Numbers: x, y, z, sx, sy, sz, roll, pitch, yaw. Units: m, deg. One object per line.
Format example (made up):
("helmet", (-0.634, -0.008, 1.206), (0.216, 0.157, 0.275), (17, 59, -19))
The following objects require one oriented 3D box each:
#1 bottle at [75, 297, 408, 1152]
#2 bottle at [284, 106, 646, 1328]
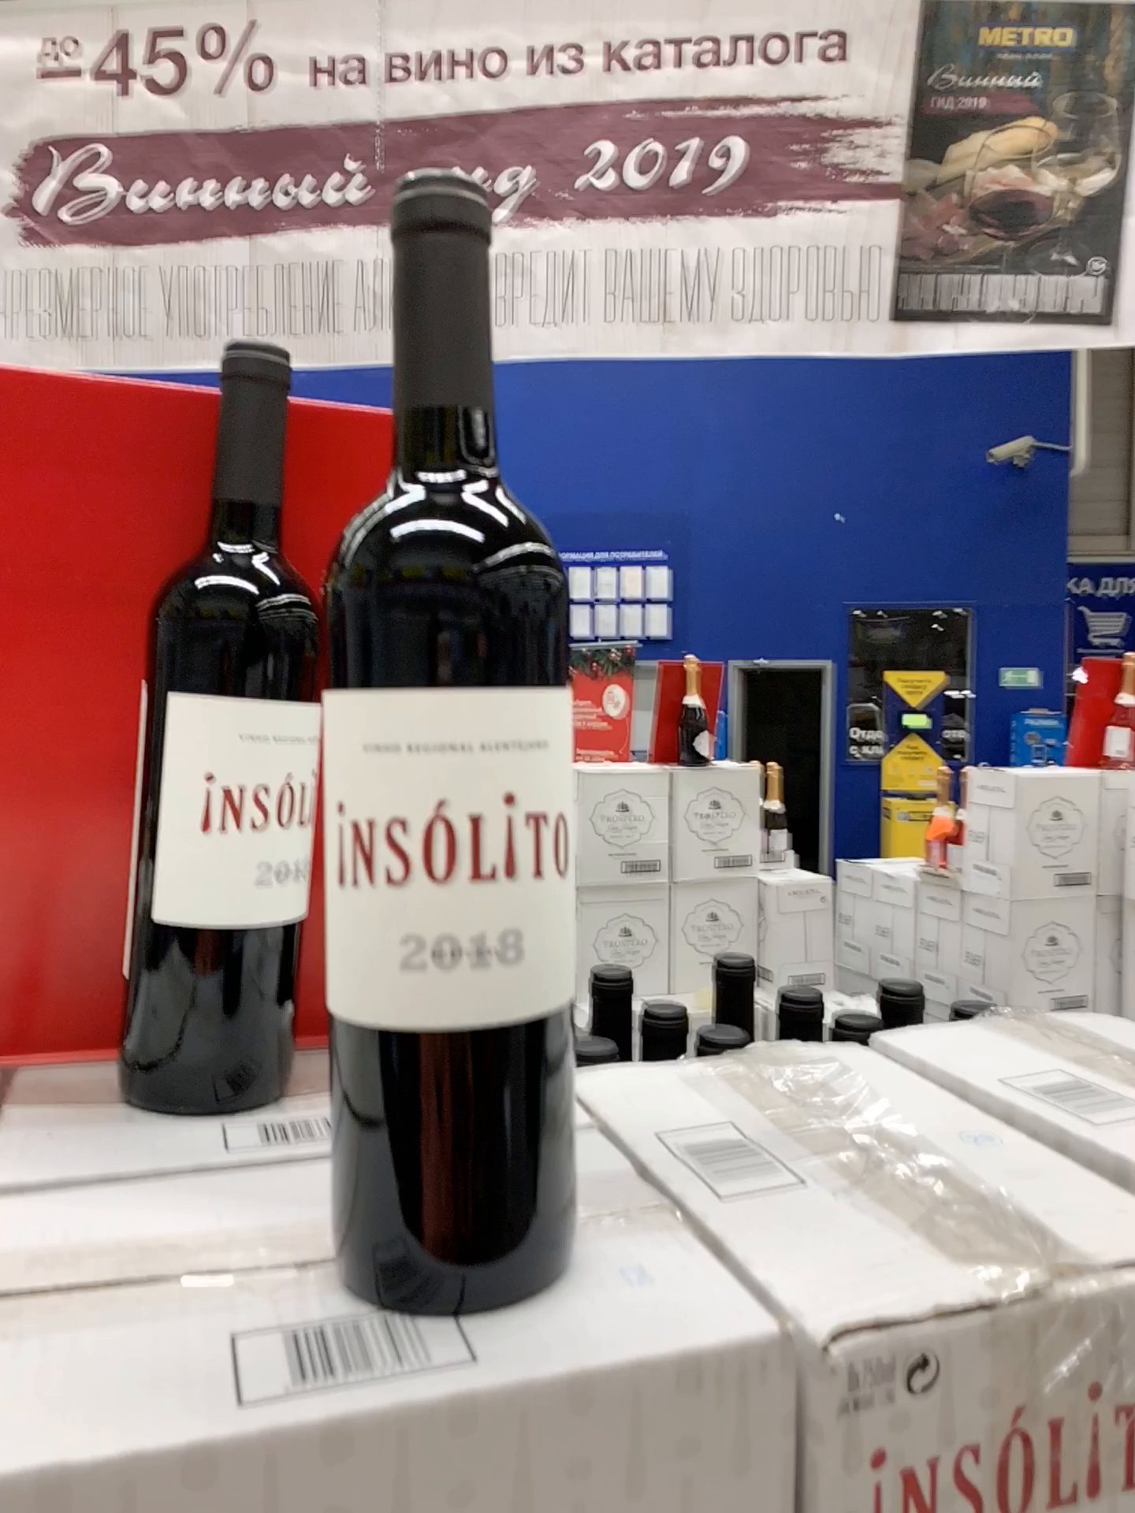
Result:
("bottle", (-0.142, -0.012, 0.496), (0.090, 0.320, 0.090), (5, 4, 0))
("bottle", (-0.034, -0.010, 0.348), (0.090, 0.310, 0.090), (1, 1, 0))
